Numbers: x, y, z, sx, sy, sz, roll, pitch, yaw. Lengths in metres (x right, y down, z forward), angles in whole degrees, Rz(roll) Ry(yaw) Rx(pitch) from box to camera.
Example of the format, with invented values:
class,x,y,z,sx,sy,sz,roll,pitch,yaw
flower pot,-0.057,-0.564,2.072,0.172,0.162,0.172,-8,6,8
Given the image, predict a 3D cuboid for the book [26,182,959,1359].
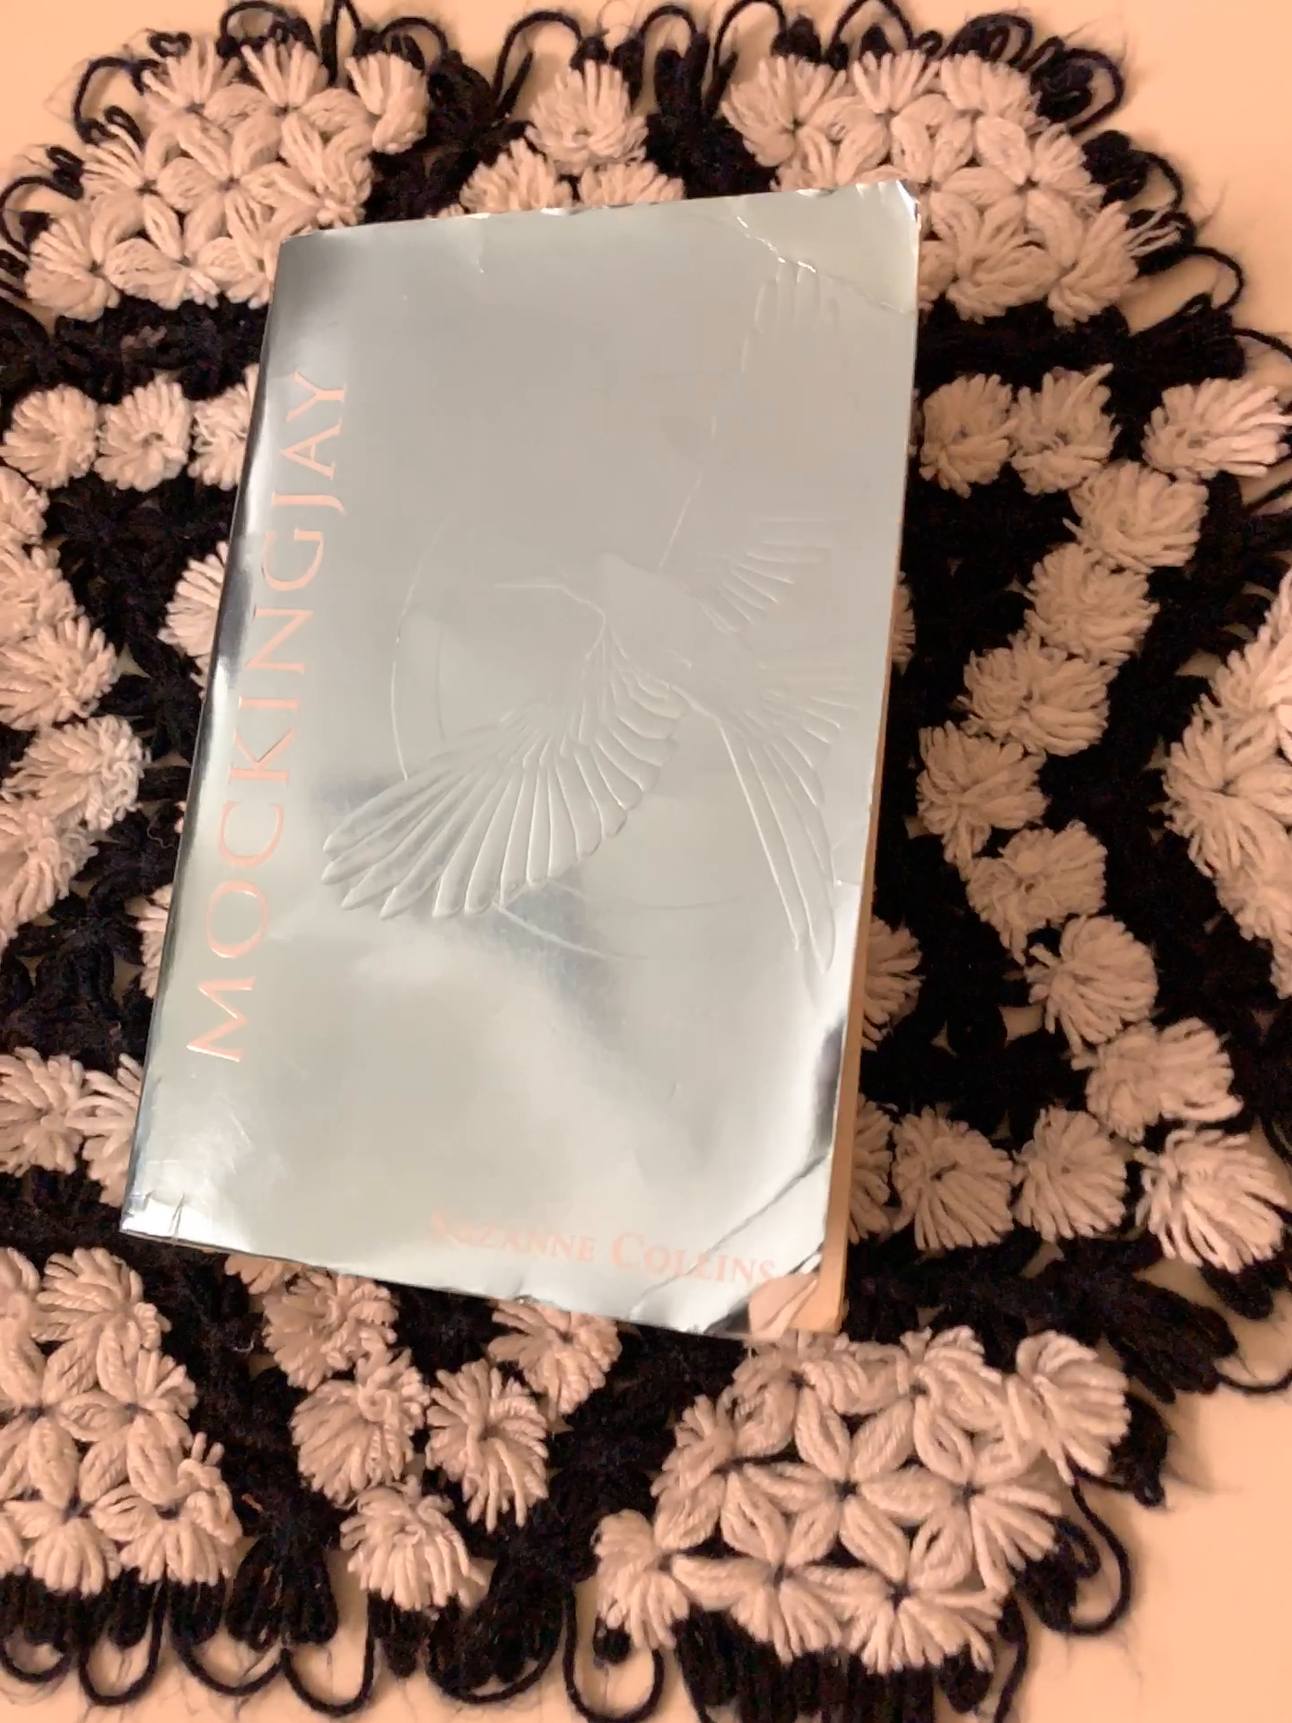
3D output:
class,x,y,z,sx,sy,sz,roll,pitch,yaw
book,-0.020,-0.023,0.240,0.136,0.036,0.193,4,79,7
